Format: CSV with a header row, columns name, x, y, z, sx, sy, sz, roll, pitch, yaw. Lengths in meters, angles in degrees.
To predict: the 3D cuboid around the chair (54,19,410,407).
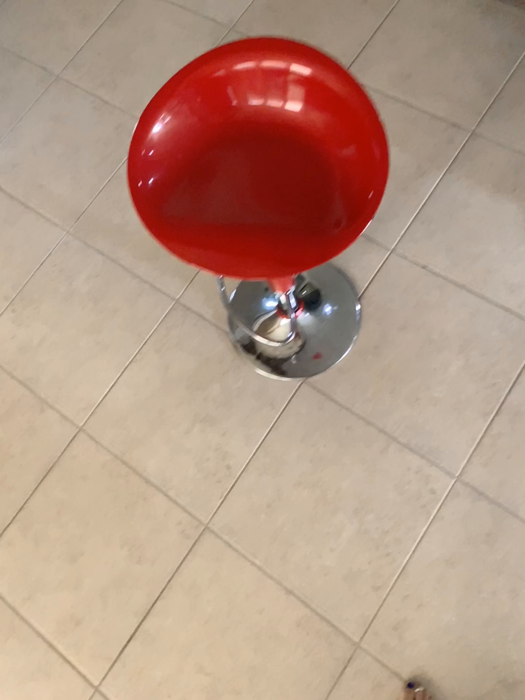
name,x,y,z,sx,sy,sz,roll,pitch,yaw
chair,0.012,-0.207,1.149,0.437,0.731,0.432,13,76,13
